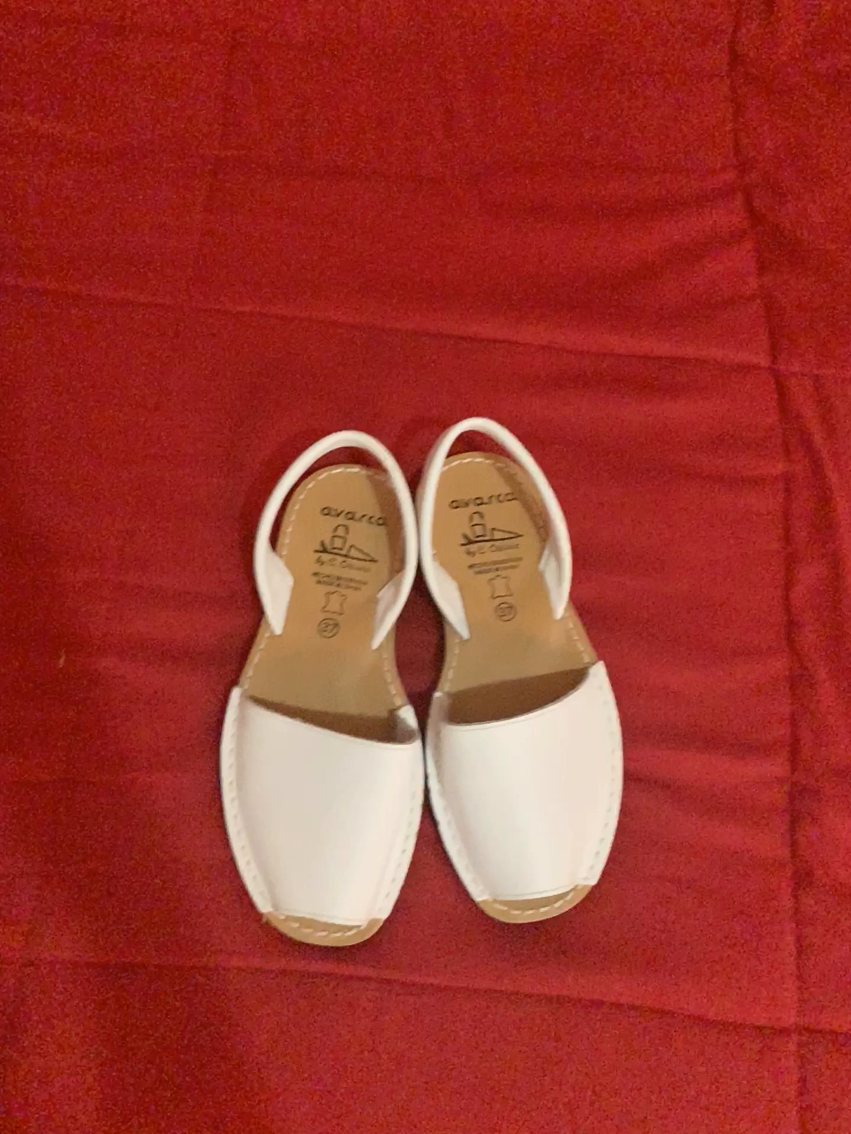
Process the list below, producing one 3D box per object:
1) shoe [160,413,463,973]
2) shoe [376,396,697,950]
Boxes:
[{"bbox_3d":[-0.046,0.055,0.423,0.107,0.063,0.248,5,70,-2],"label":"shoe"},{"bbox_3d":[0.043,0.045,0.433,0.103,0.063,0.249,-7,71,-6],"label":"shoe"}]
